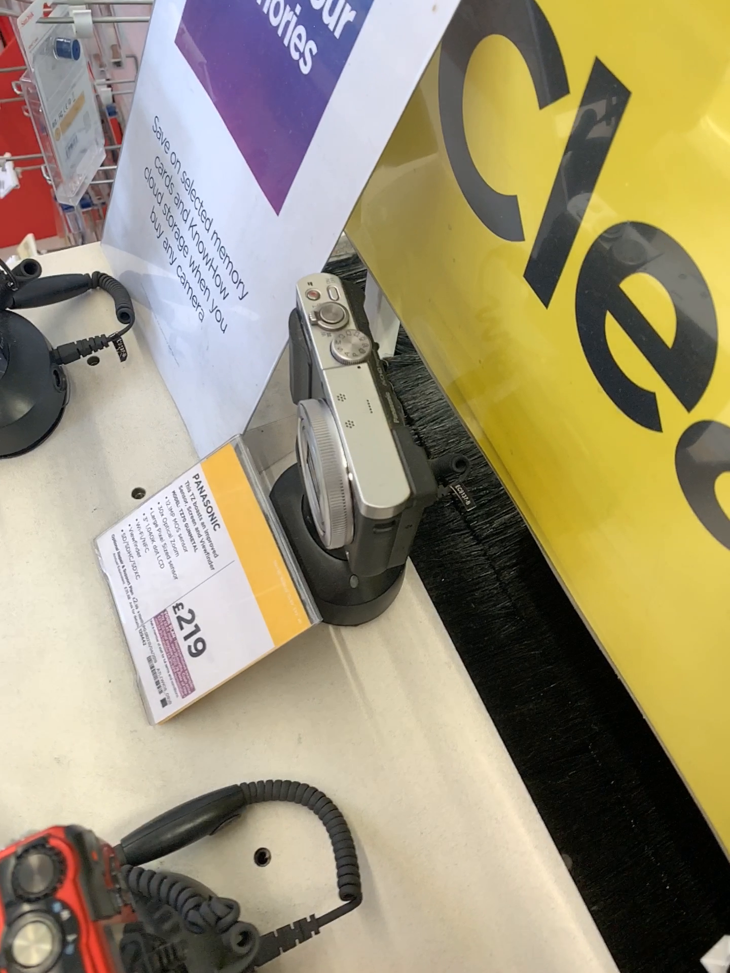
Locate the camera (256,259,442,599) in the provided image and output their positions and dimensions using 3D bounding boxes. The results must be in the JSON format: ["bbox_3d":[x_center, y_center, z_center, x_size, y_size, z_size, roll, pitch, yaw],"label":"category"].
[{"bbox_3d":[-0.011,-0.023,0.299,0.040,0.070,0.111,-12,62,-11],"label":"camera"}]
